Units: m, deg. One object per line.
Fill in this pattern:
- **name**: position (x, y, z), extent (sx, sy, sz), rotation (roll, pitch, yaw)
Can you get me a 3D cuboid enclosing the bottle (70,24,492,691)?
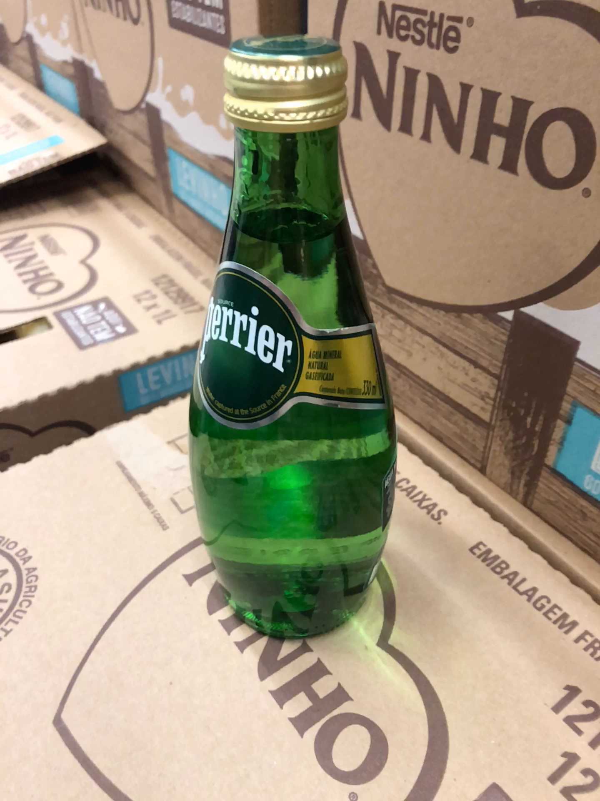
- **bottle**: position (-0.003, -0.004, 0.201), extent (0.070, 0.179, 0.060), rotation (23, 43, 27)
